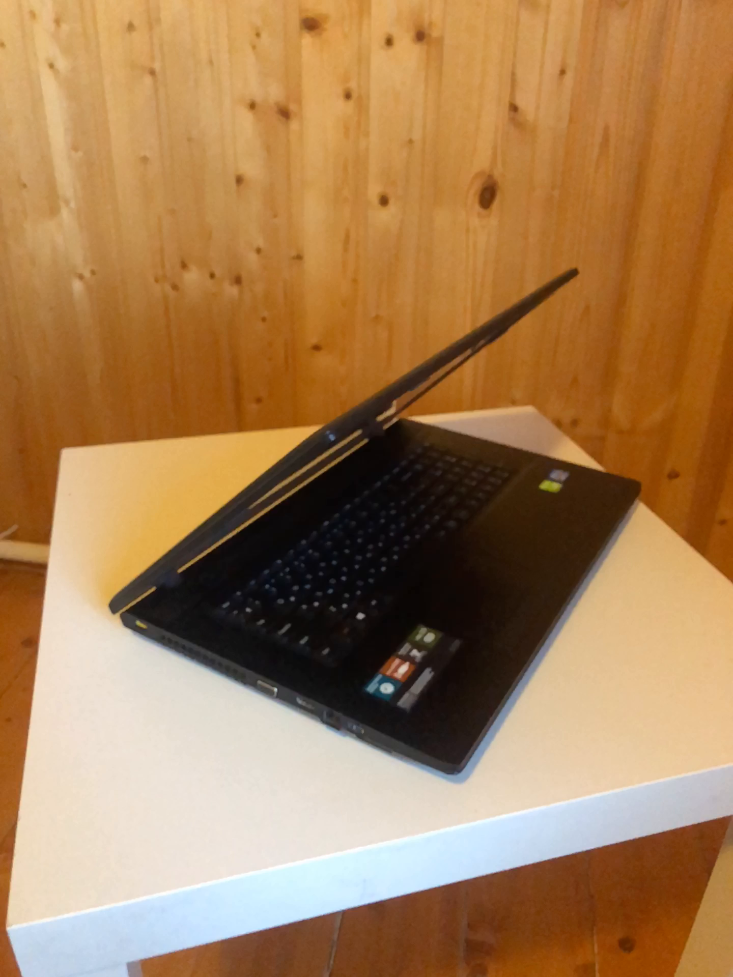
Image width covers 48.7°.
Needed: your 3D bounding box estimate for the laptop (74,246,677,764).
[{"bbox_3d":[0.041,-0.042,0.639,0.271,0.184,0.412,17,32,27],"label":"laptop"}]
